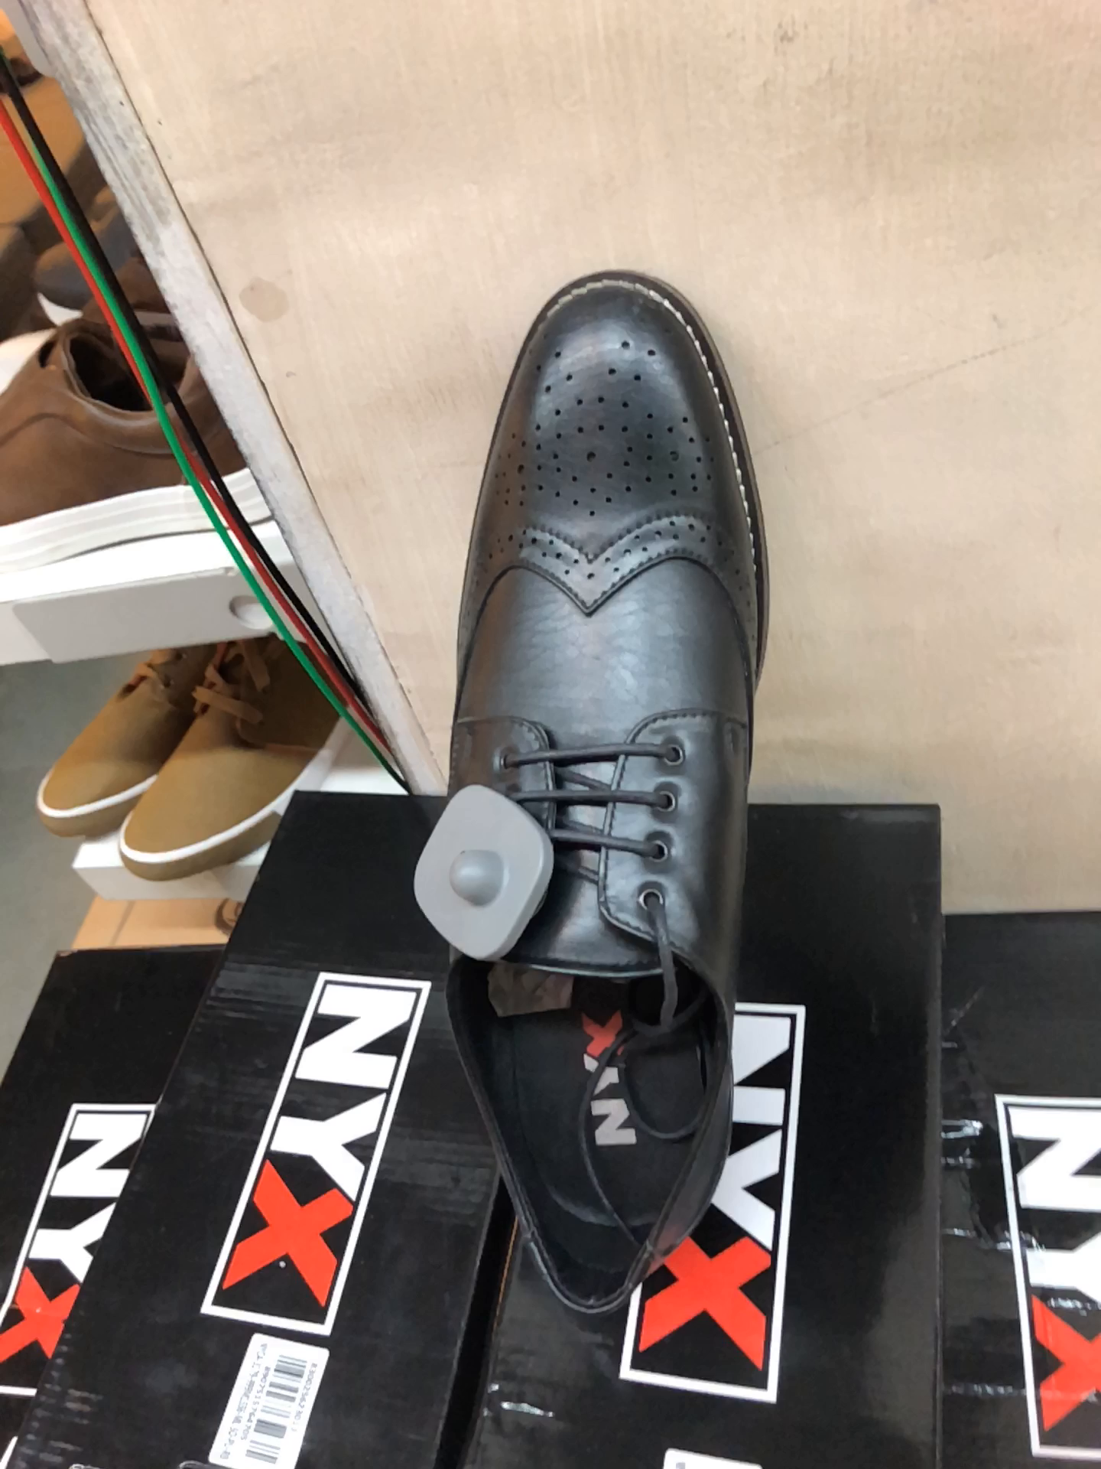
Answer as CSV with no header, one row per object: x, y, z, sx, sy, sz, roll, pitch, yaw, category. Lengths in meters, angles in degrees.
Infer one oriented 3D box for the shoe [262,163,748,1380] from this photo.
-0.002,0.010,0.358,0.106,0.297,0.107,0,7,15,shoe
